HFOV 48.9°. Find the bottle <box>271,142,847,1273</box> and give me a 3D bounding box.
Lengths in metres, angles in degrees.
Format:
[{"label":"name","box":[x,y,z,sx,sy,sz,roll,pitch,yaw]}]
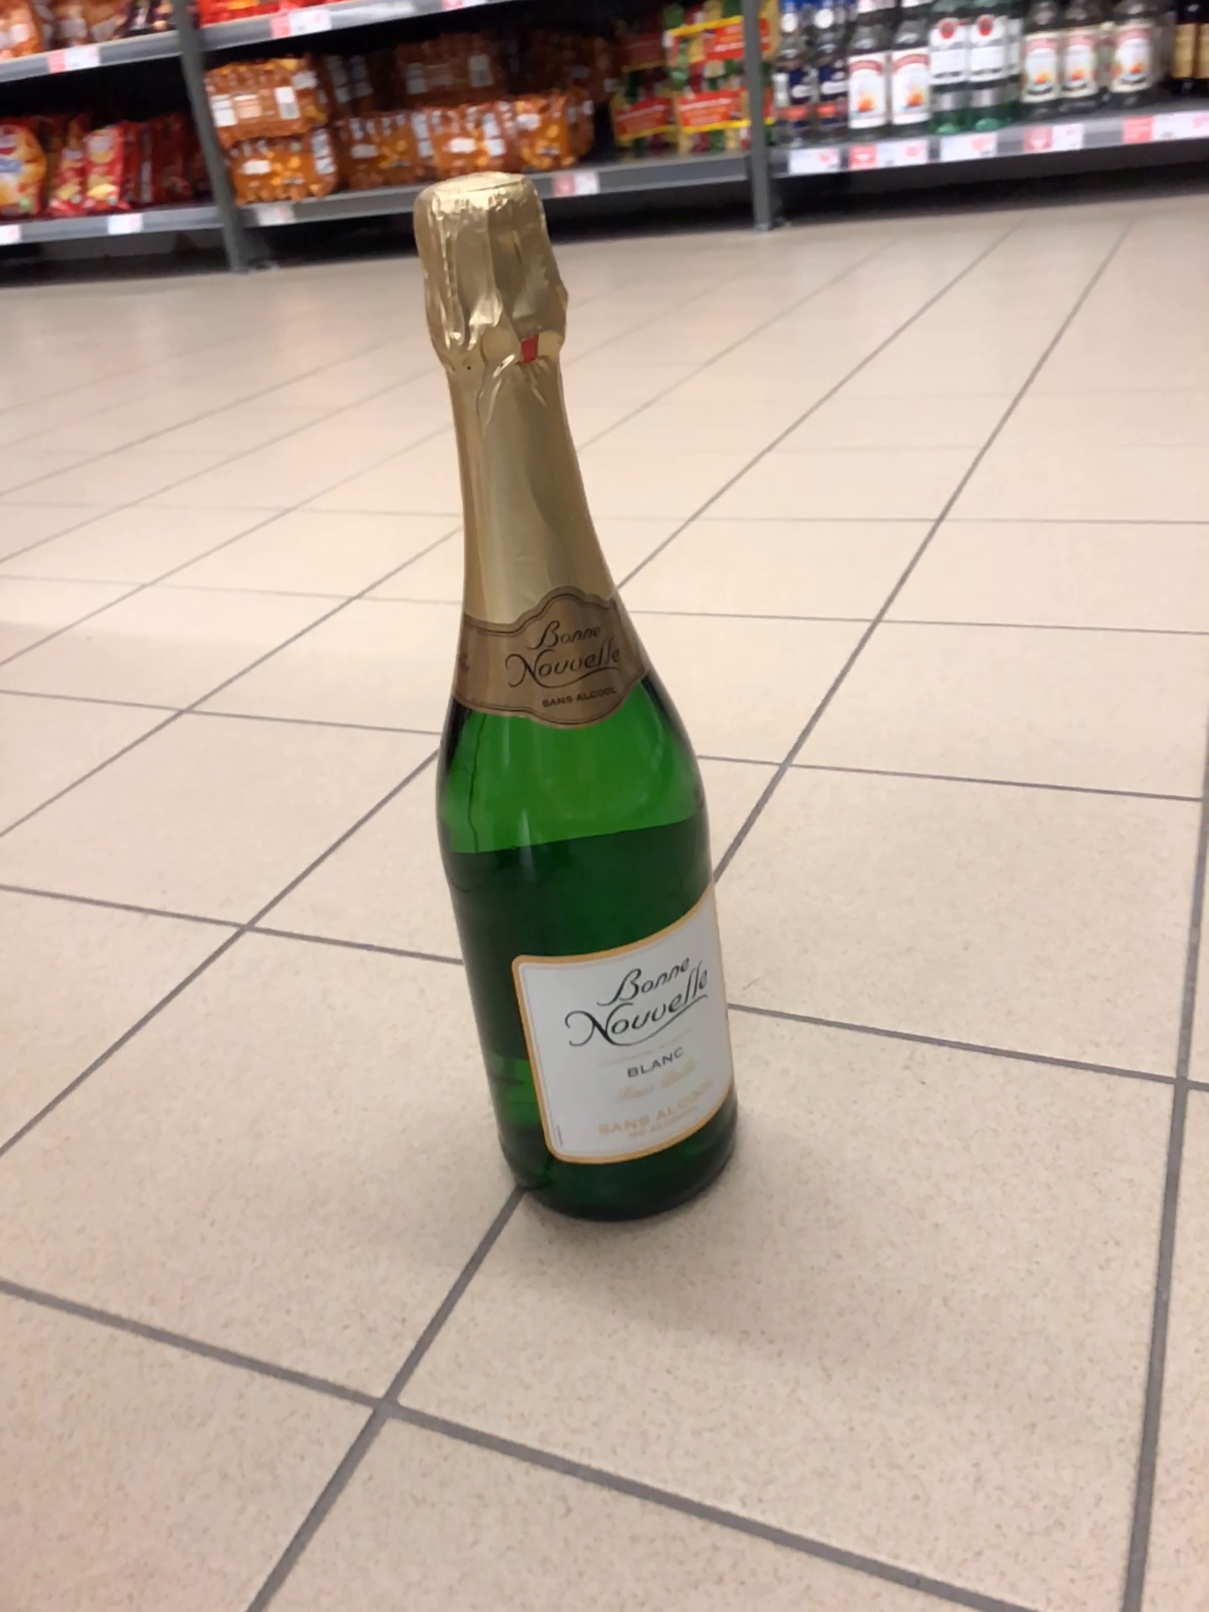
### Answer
[{"label":"bottle","box":[-0.002,-0.021,0.391,0.100,0.298,0.090,-20,30,-22]}]
